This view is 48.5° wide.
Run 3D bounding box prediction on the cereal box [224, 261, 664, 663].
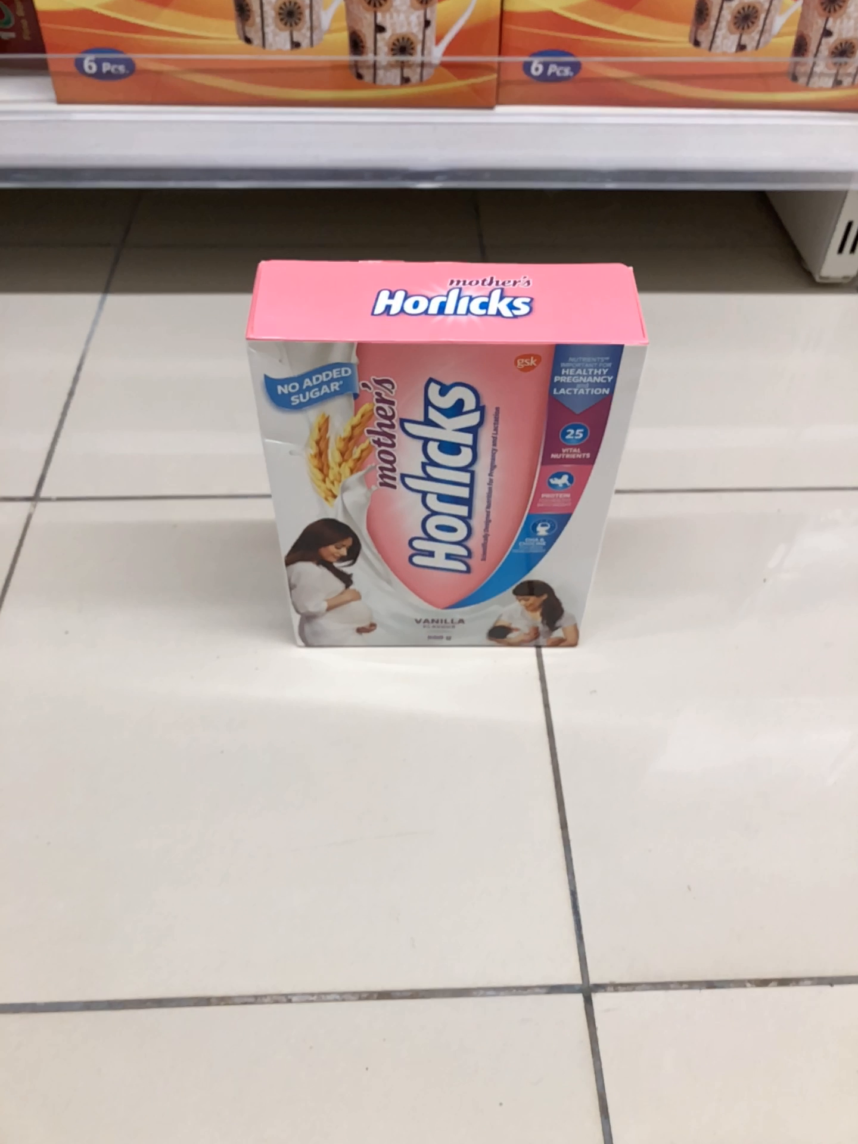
[{"bbox_3d":[0.004,-0.040,0.436,0.160,0.189,0.060,0,48,-1],"label":"cereal box"}]
